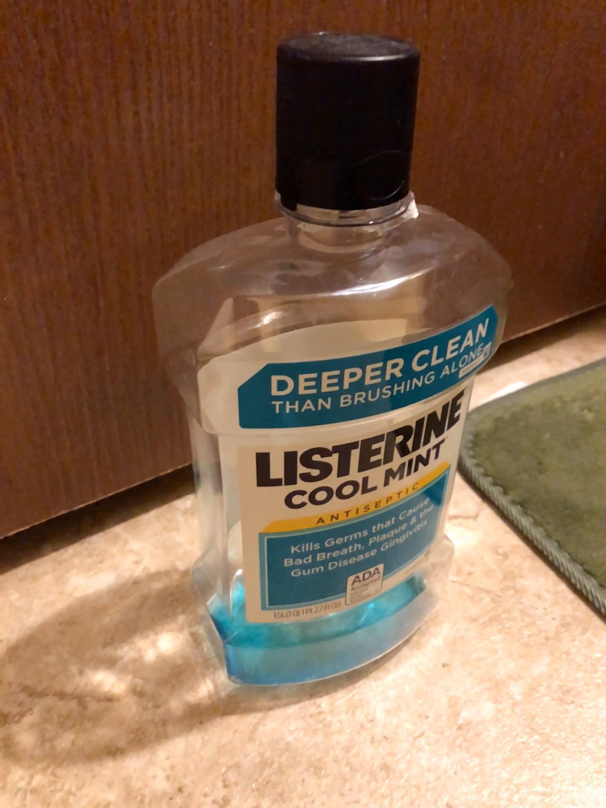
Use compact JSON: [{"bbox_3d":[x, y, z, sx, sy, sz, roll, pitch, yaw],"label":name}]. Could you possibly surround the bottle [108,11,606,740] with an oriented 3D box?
[{"bbox_3d":[0.024,-0.005,0.240,0.130,0.219,0.090,-16,41,-22],"label":"bottle"}]
